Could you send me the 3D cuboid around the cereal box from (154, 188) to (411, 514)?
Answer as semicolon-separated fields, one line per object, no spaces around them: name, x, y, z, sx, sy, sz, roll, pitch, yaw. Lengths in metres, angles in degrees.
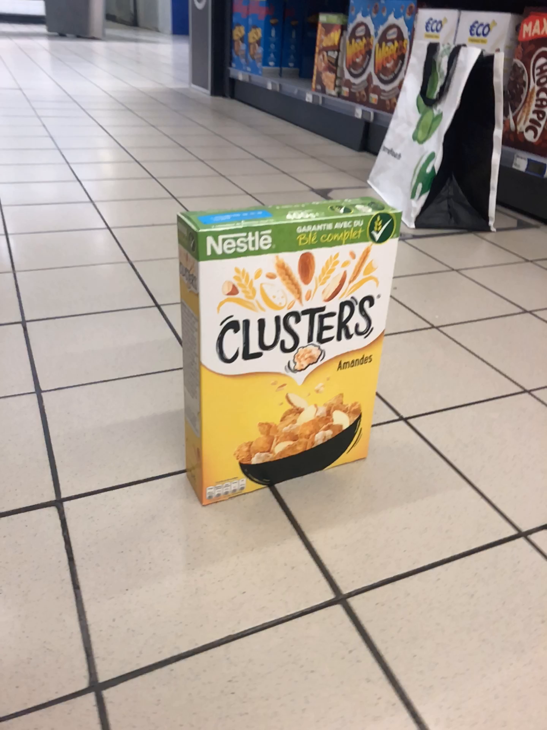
cereal box;0.006;-0.013;0.570;0.211;0.278;0.060;-11;31;-23
